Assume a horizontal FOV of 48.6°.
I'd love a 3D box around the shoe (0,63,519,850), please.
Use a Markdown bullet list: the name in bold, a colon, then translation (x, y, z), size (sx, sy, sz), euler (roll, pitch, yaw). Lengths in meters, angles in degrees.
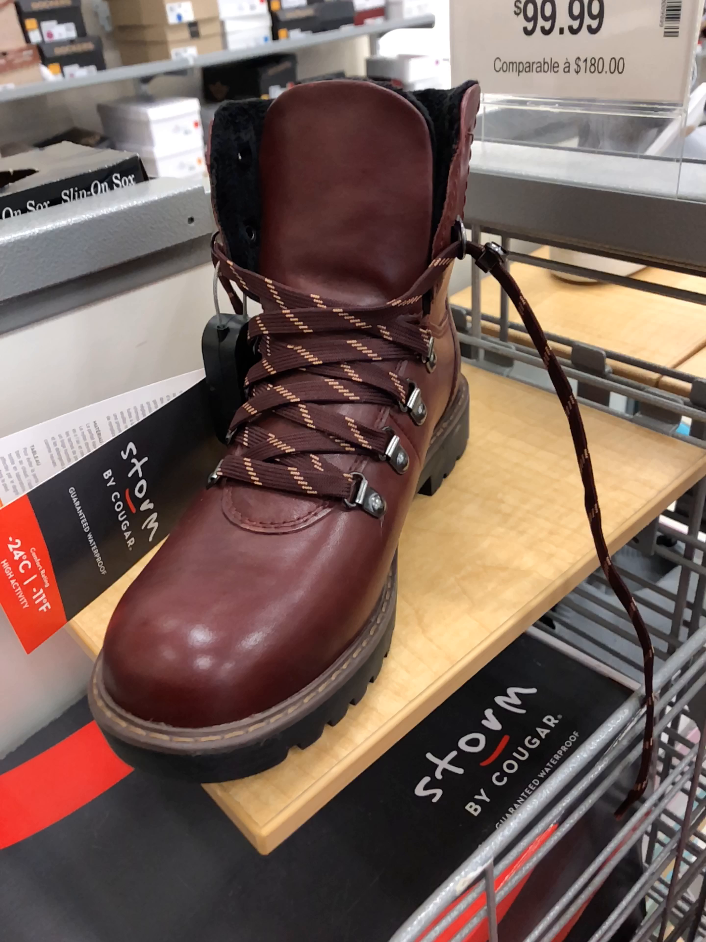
- **shoe**: translation (-0.021, -0.033, 0.282), size (0.107, 0.169, 0.232), euler (9, 36, 21)
